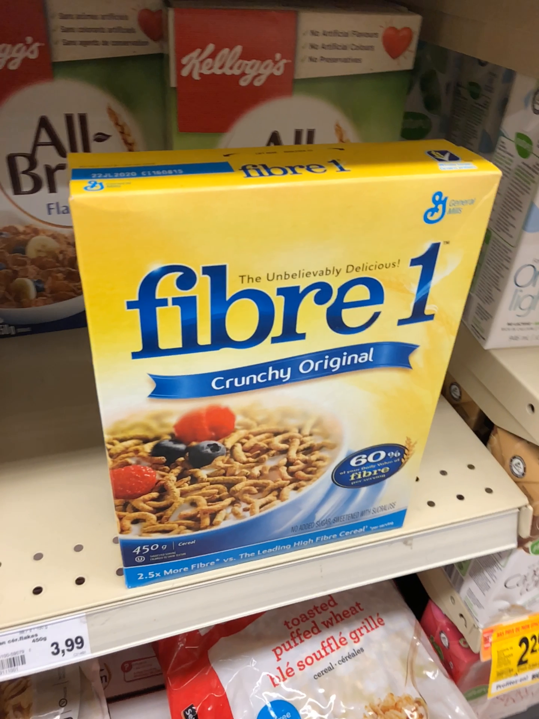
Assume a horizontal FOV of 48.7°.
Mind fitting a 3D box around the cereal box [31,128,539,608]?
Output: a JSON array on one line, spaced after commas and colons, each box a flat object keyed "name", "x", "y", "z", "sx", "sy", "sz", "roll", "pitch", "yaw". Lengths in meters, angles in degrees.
[{"name": "cereal box", "x": 0.004, "y": 0.013, "z": 0.326, "sx": 0.210, "sy": 0.248, "sz": 0.060, "roll": -8, "pitch": 38, "yaw": -16}]
